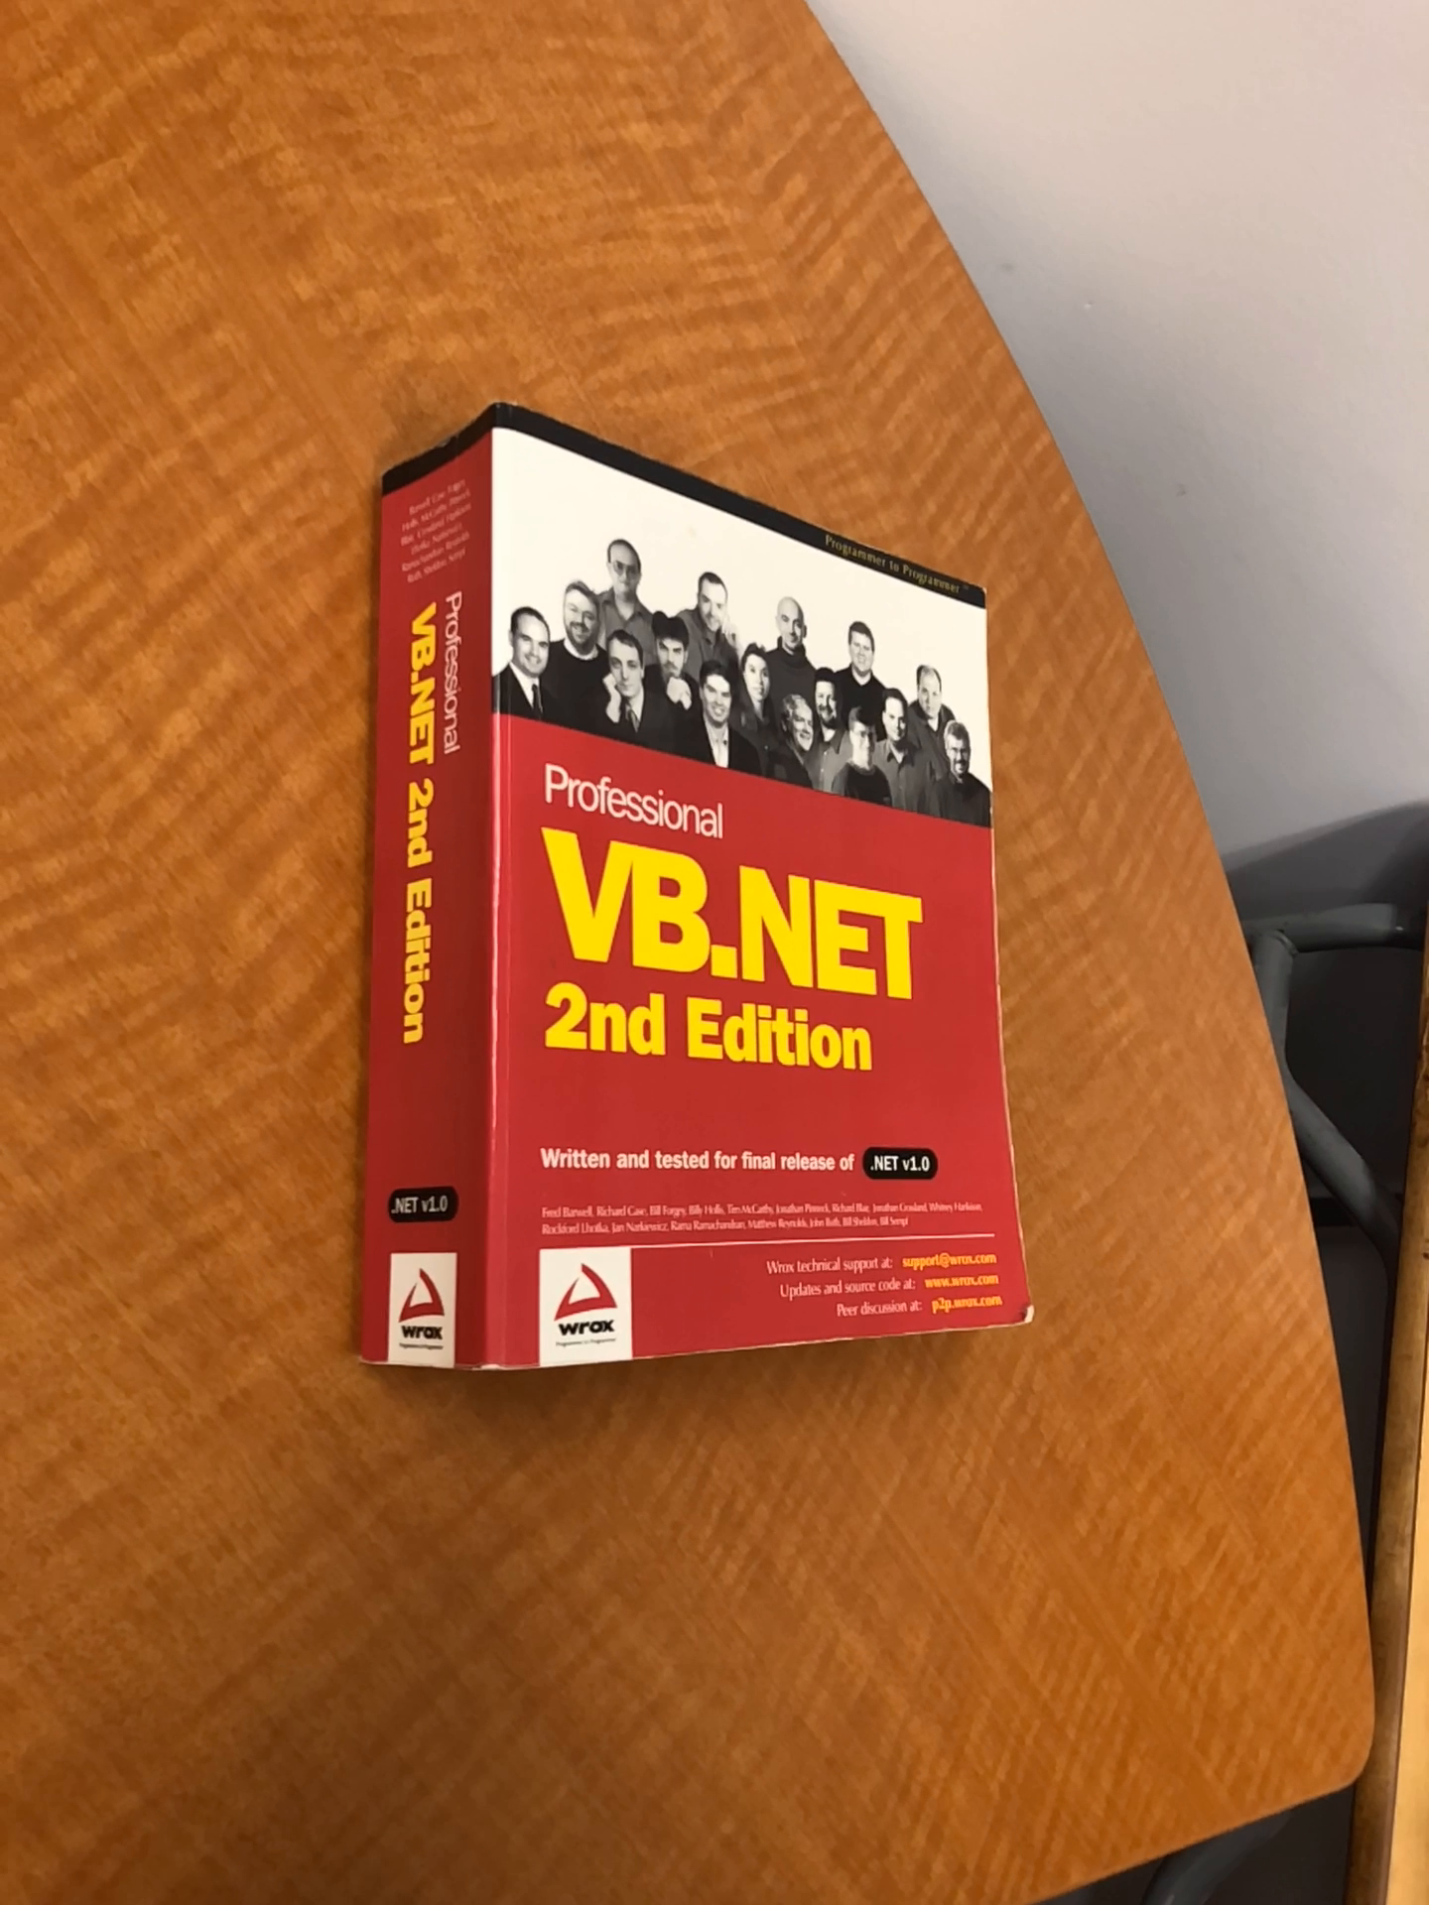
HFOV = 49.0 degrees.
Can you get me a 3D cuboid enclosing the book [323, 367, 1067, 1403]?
[{"bbox_3d":[0.002,-0.006,0.425,0.201,0.060,0.230,9,74,-41],"label":"book"}]
